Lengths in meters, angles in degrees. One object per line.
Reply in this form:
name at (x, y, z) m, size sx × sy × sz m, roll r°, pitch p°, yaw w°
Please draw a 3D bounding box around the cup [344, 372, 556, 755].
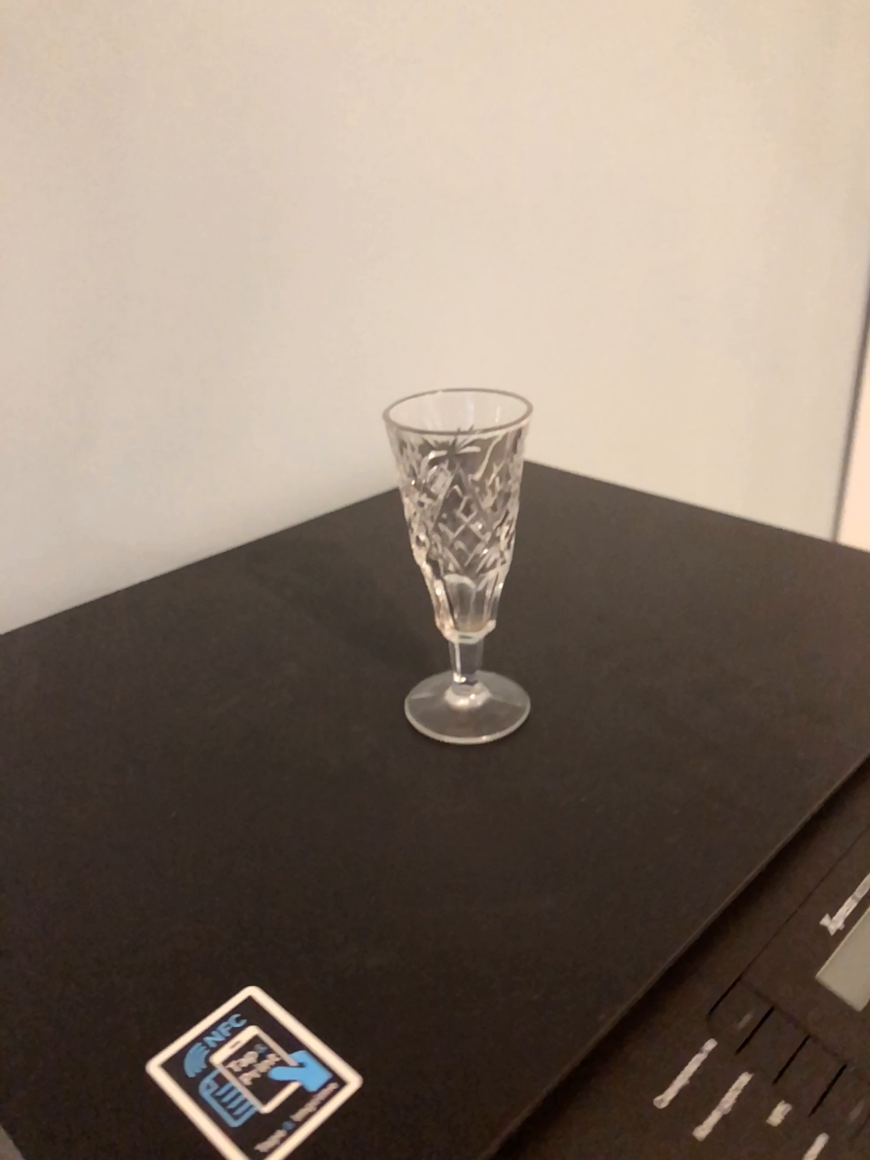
cup at (0.004, -0.006, 0.323) m, size 0.057 × 0.109 × 0.054 m, roll -1°, pitch 25°, yaw 1°
